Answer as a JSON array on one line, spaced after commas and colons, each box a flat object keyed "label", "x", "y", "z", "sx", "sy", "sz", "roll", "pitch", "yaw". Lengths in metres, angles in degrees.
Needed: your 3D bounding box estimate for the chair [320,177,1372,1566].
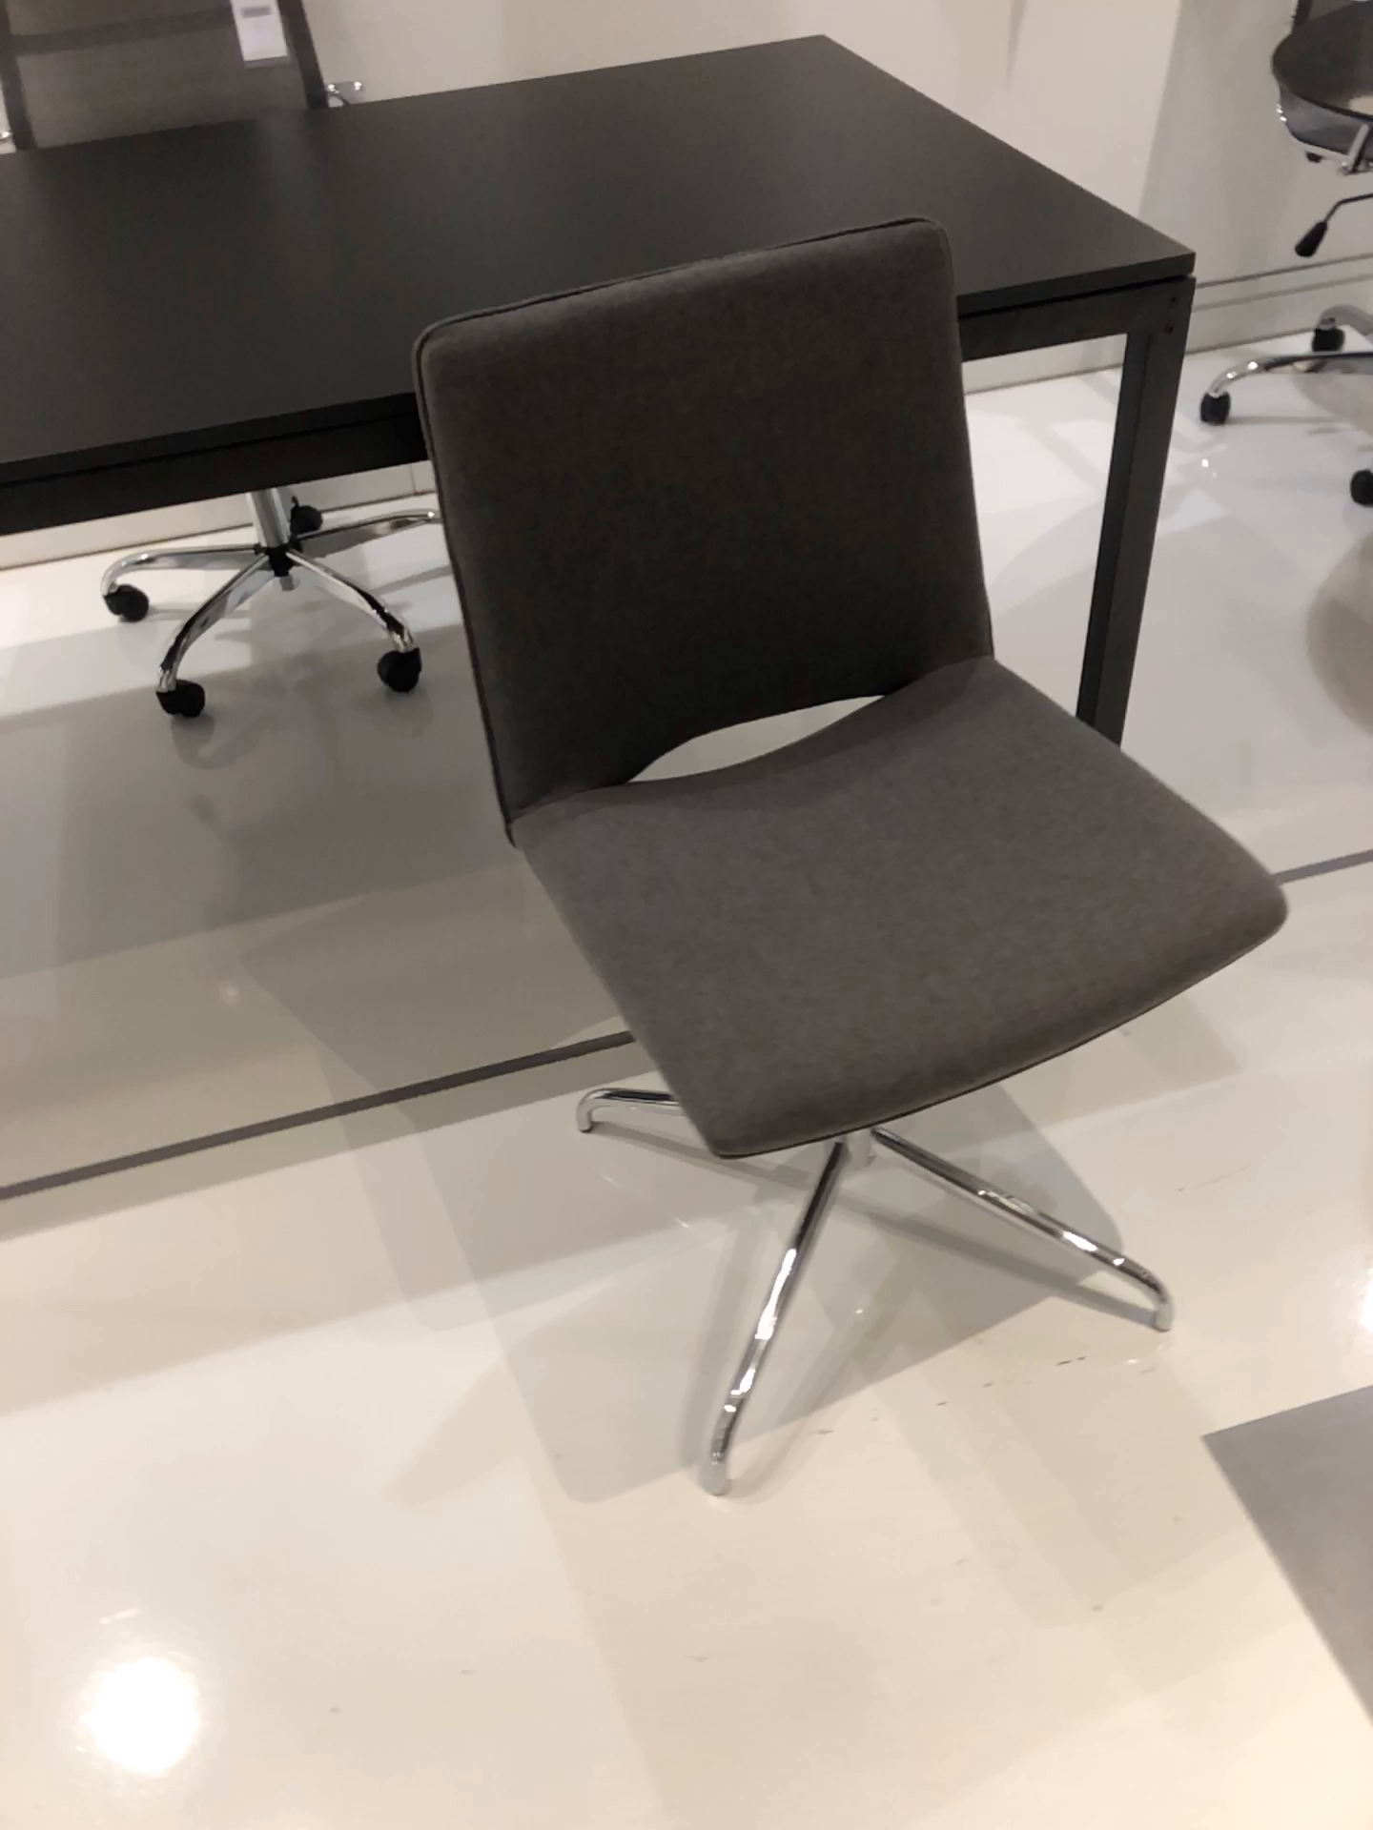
[{"label": "chair", "x": 0.124, "y": -0.034, "z": 1.214, "sx": 0.521, "sy": 0.834, "sz": 0.553, "roll": -20, "pitch": 43, "yaw": -17}]
